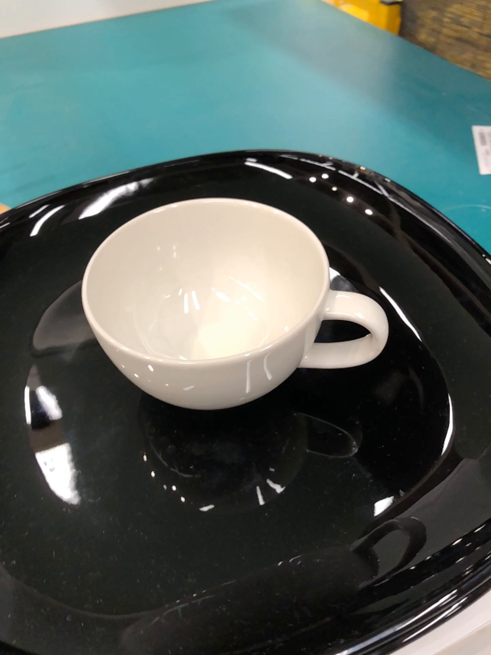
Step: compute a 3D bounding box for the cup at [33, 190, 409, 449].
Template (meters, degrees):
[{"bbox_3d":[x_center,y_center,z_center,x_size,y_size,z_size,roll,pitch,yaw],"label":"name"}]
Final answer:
[{"bbox_3d":[-0.002,-0.011,0.240,0.130,0.040,0.110,4,45,8],"label":"cup"}]
